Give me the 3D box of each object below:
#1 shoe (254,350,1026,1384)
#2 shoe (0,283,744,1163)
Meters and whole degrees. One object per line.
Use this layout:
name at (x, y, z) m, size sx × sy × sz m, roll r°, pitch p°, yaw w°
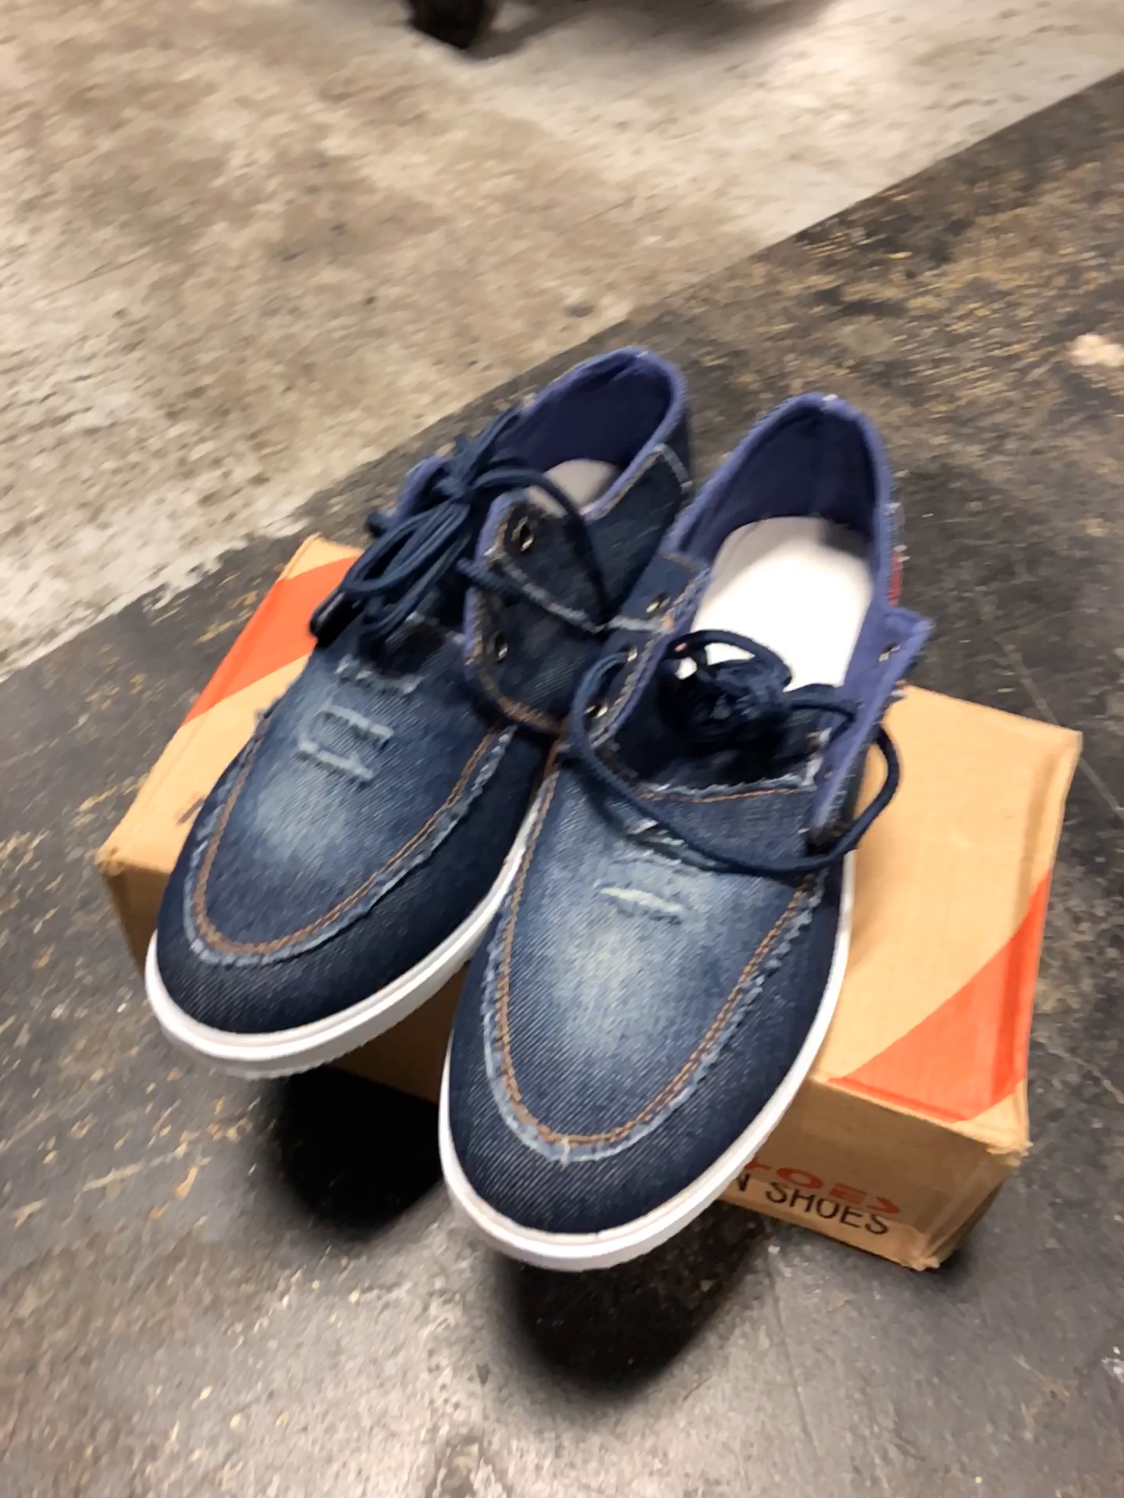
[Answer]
shoe at (0.039, 0.008, 0.344) m, size 0.100 × 0.079 × 0.272 m, roll 20°, pitch 54°, yaw 14°
shoe at (-0.045, -0.025, 0.357) m, size 0.090 × 0.079 × 0.251 m, roll 24°, pitch 55°, yaw 17°
